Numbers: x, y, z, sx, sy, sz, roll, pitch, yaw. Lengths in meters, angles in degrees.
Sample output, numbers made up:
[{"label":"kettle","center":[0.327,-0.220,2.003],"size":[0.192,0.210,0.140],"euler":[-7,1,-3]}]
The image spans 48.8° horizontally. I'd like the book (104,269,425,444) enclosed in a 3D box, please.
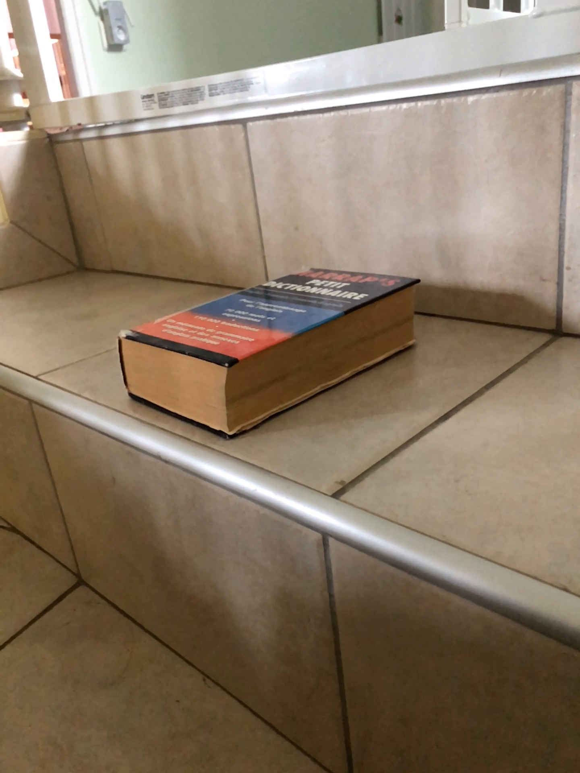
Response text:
[{"label":"book","center":[-0.011,-0.033,0.439],"size":[0.186,0.050,0.118],"euler":[-25,28,-39]}]
